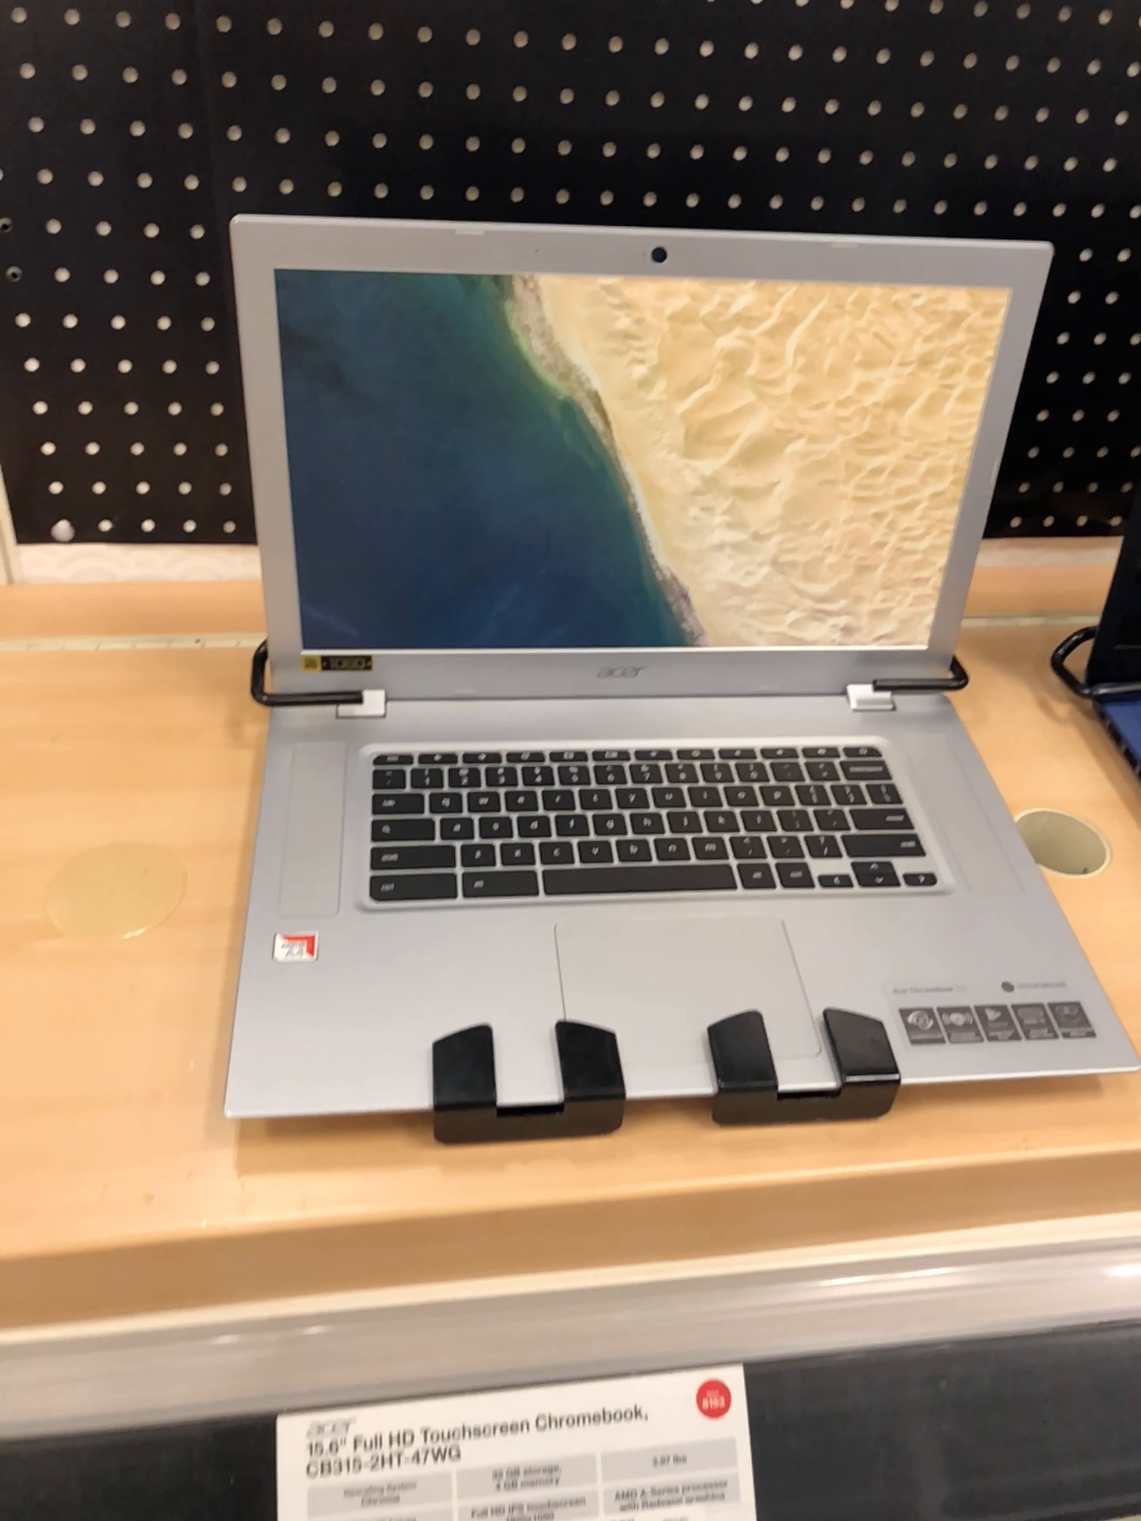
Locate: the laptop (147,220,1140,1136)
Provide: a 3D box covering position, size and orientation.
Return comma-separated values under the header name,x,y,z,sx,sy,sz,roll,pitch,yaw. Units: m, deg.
name,x,y,z,sx,sy,sz,roll,pitch,yaw
laptop,0.045,-0.056,0.547,0.371,0.246,0.287,-1,36,-7
